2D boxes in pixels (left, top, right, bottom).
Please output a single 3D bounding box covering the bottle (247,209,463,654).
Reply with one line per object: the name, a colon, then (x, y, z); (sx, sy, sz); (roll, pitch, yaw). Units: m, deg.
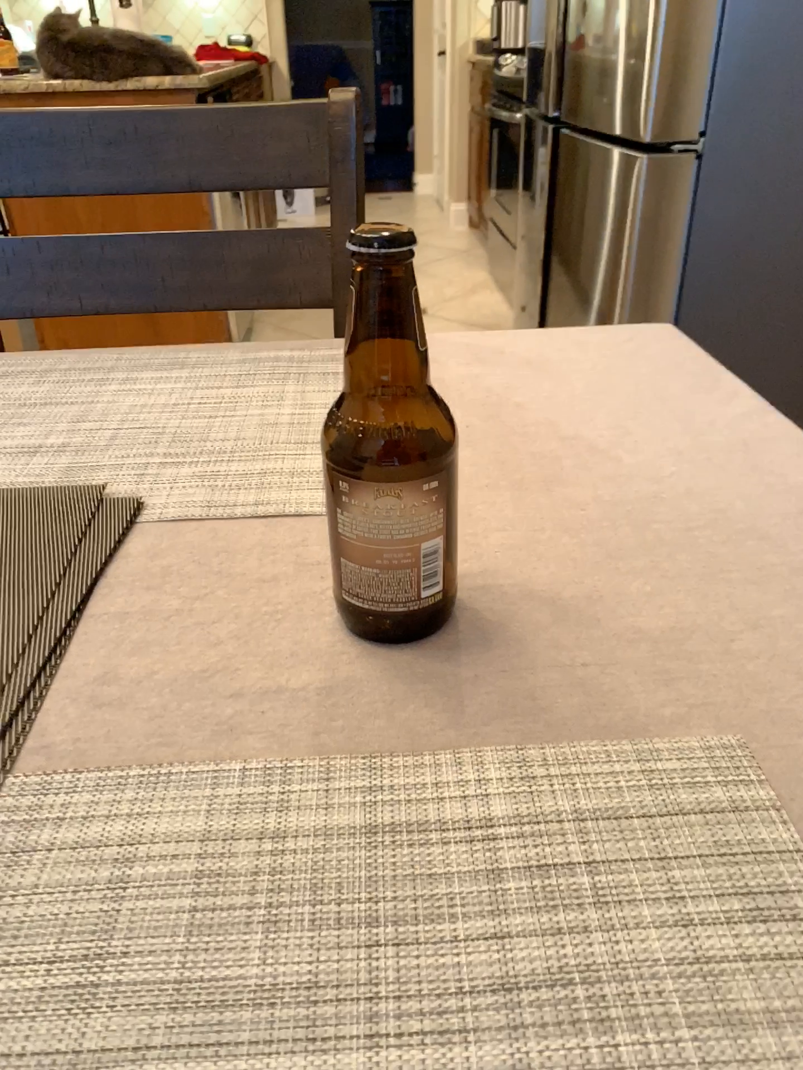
bottle: (-0.013, -0.045, 0.385); (0.080, 0.189, 0.080); (-1, 31, 1)
